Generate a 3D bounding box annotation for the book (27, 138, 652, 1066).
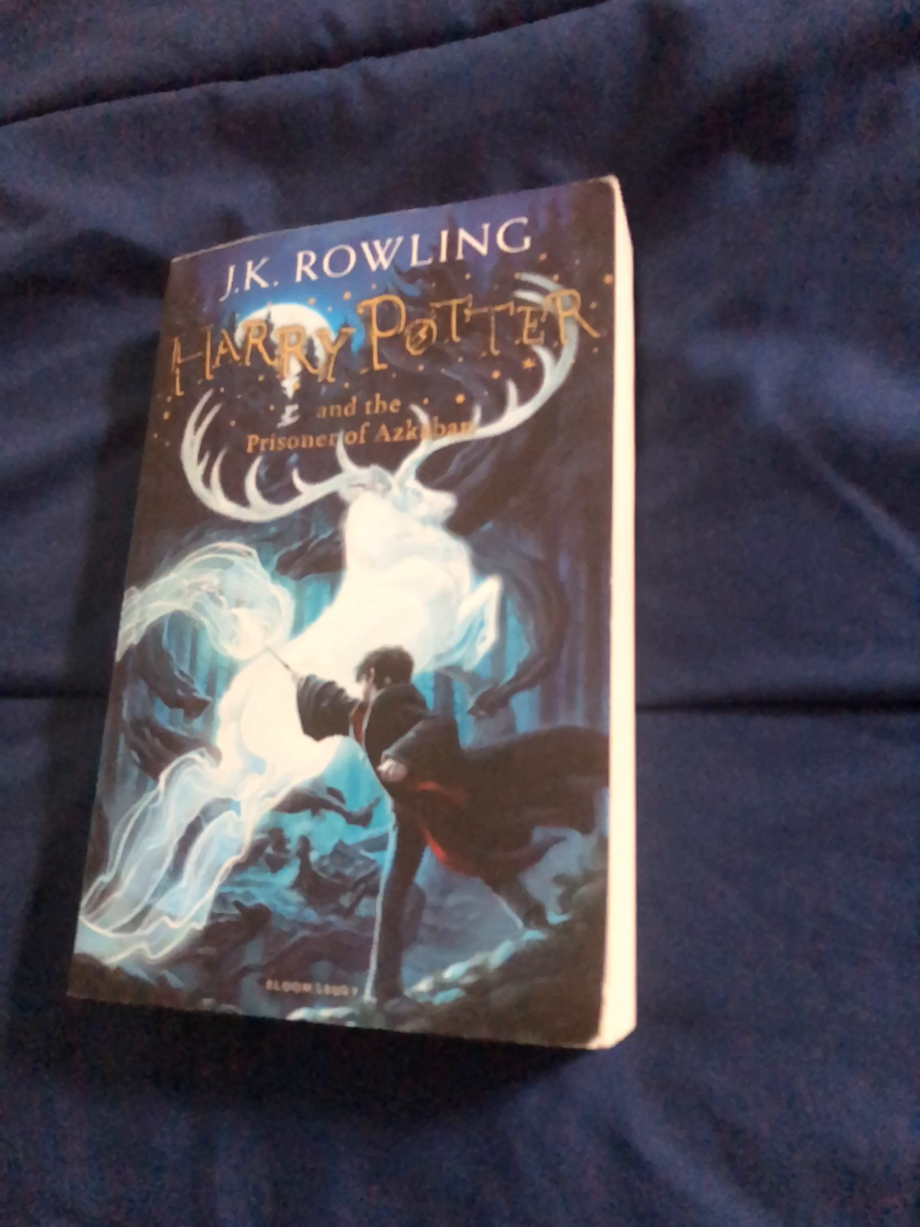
[{"bbox_3d":[-0.023,-0.006,0.254,0.134,0.045,0.200,-2,76,19],"label":"book"}]
